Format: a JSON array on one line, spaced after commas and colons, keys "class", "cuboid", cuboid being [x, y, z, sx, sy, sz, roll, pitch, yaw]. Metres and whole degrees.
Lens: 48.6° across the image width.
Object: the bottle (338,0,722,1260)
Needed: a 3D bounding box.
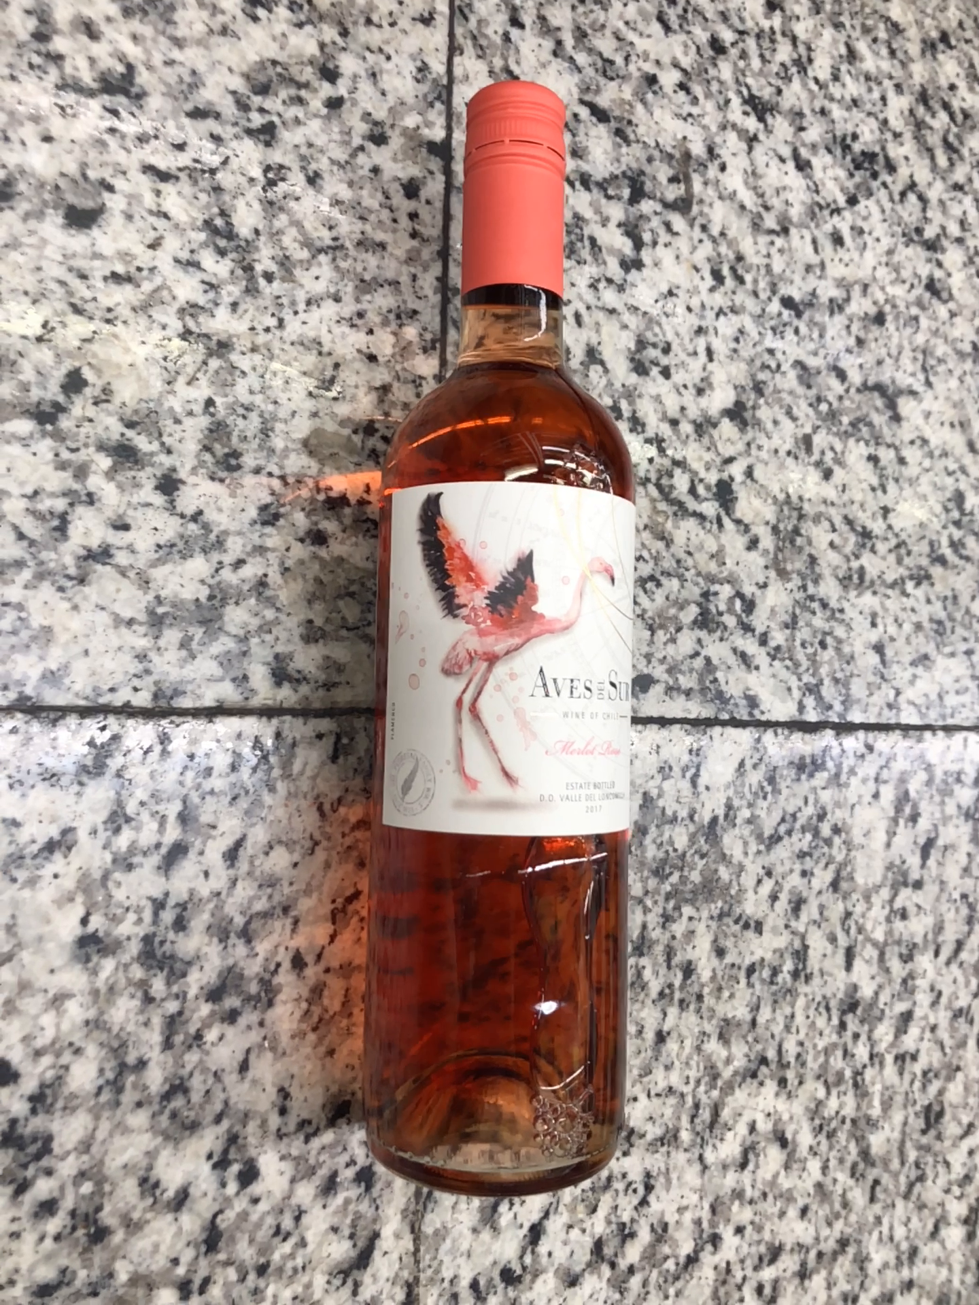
[{"class": "bottle", "cuboid": [0.010, -0.017, 0.331, 0.090, 0.070, 0.340, 2, 86, -33]}]
